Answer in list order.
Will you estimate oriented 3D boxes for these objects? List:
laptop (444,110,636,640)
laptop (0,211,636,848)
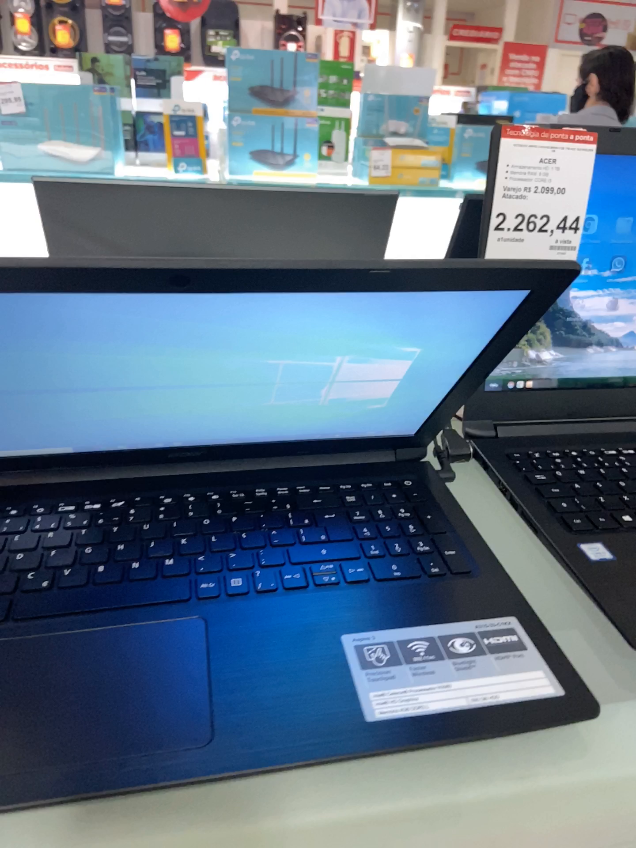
[{"bbox_3d":[0.346,-0.063,0.454,0.399,0.247,0.285,-2,26,-11],"label":"laptop"},{"bbox_3d":[-0.072,0.007,0.338,0.379,0.185,0.240,-3,26,-11],"label":"laptop"}]
